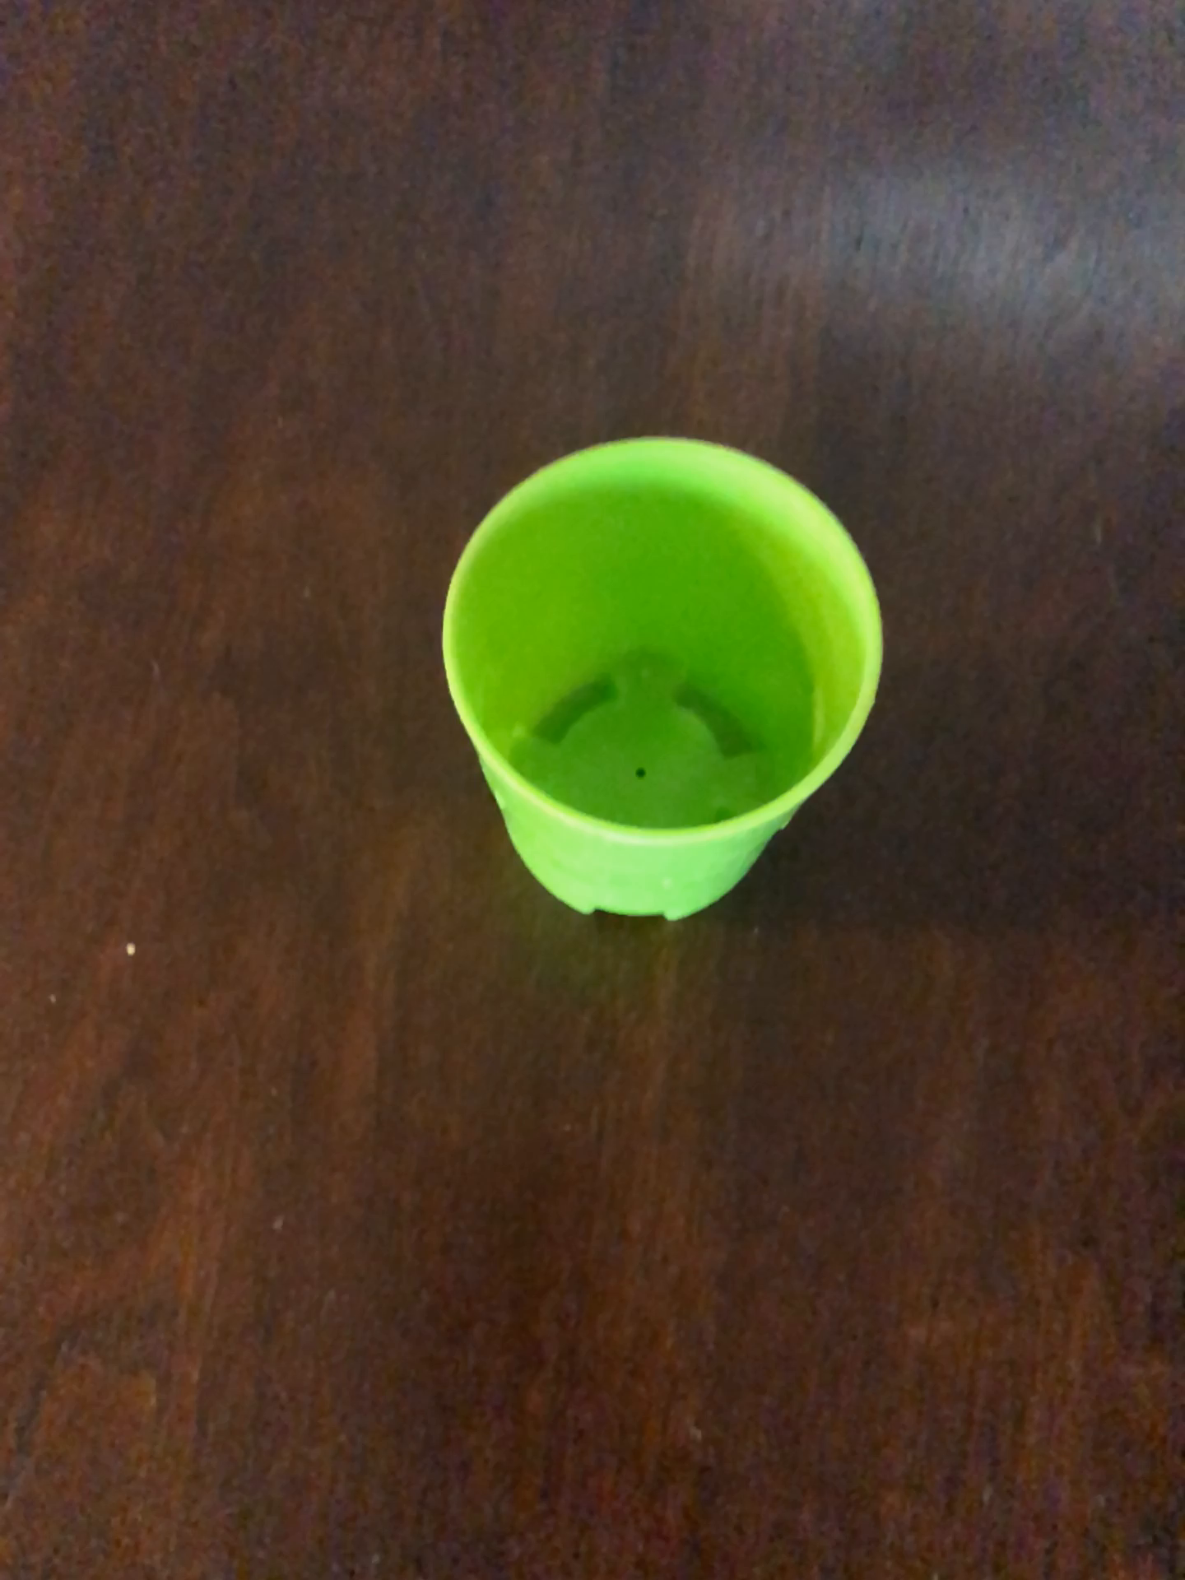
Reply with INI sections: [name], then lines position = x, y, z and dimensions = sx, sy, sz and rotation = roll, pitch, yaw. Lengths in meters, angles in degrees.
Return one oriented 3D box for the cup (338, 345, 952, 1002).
[cup]
position = 0.009, -0.014, 0.239
dimensions = 0.070, 0.090, 0.070
rotation = 0, 73, -1
